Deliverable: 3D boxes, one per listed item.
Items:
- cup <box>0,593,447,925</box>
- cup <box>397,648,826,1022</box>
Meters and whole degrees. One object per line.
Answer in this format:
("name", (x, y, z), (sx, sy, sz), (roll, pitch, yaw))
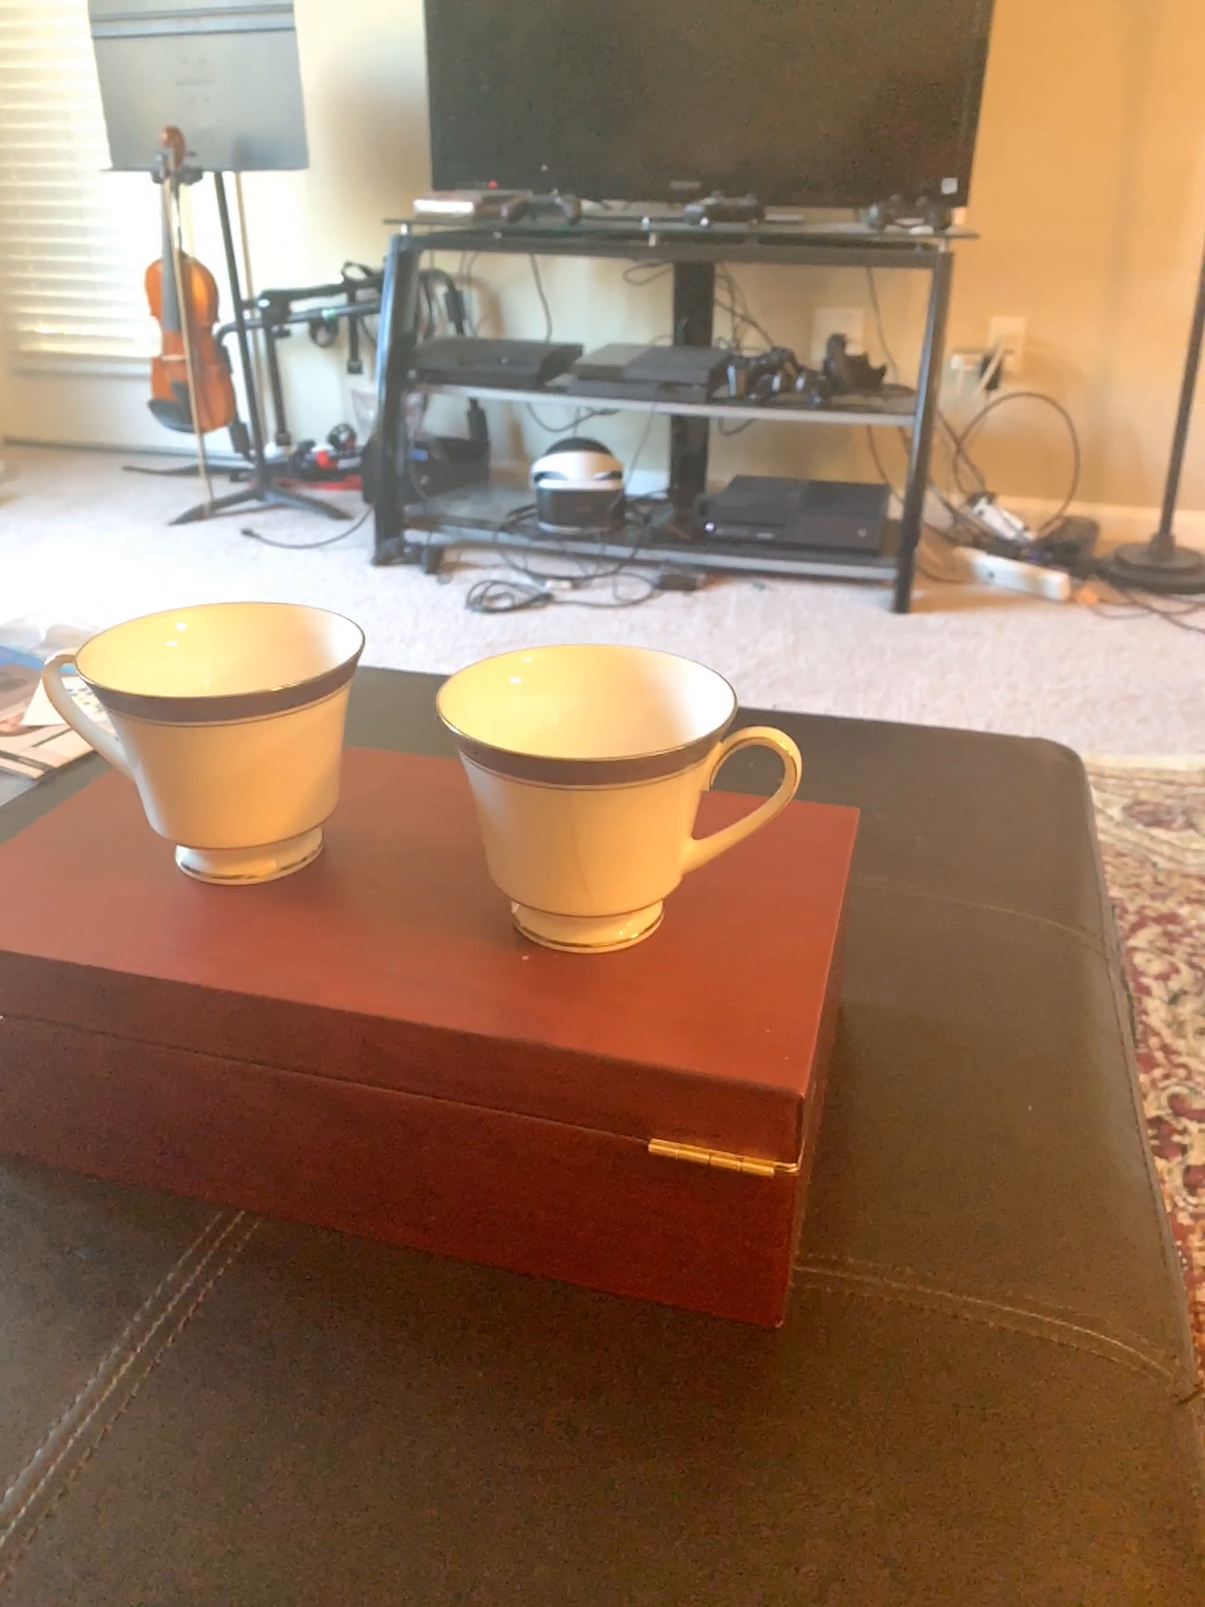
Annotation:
("cup", (-0.124, -0.020, 0.429), (0.110, 0.070, 0.090), (8, 29, 15))
("cup", (0.007, 0.004, 0.394), (0.110, 0.070, 0.090), (8, 29, 15))
